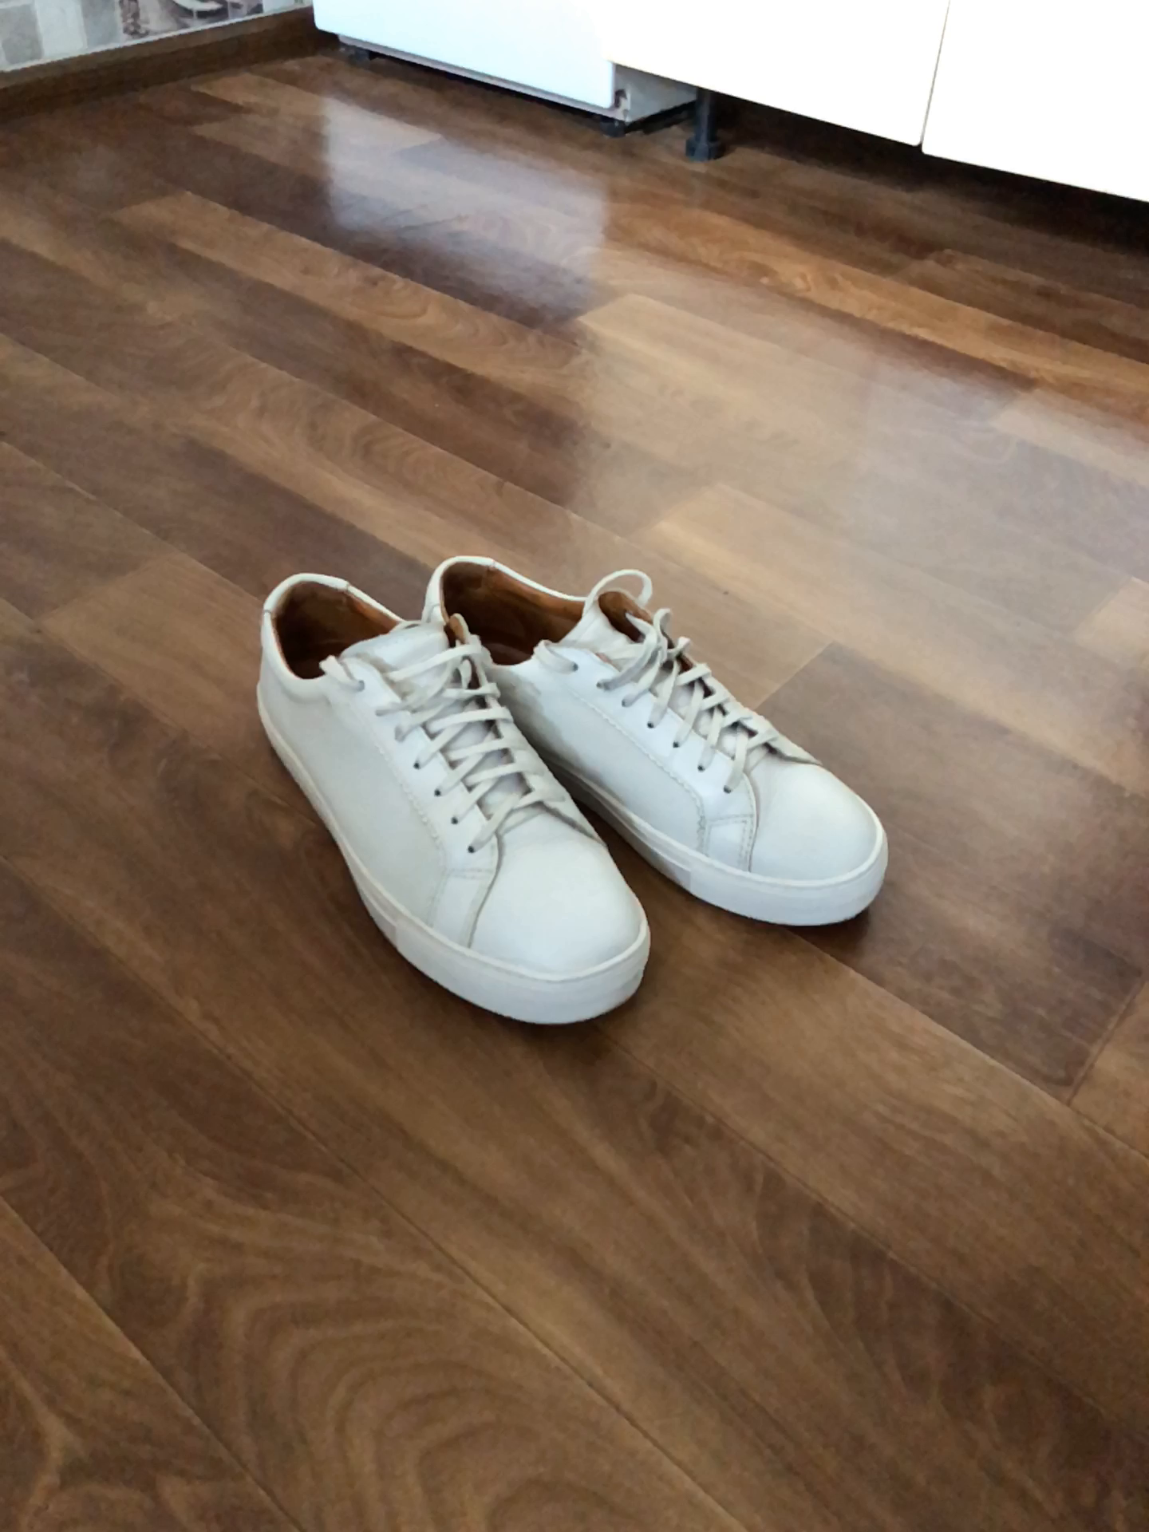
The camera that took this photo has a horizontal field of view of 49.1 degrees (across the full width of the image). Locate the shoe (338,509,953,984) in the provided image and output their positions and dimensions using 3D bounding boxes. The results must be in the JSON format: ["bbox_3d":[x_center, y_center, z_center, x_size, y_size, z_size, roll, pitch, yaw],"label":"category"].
[{"bbox_3d":[0.027,-0.021,0.633,0.281,0.089,0.111,27,48,24],"label":"shoe"}]

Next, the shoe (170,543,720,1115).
[{"bbox_3d":[-0.072,0.013,0.599,0.110,0.089,0.281,-27,50,-28],"label":"shoe"}]
